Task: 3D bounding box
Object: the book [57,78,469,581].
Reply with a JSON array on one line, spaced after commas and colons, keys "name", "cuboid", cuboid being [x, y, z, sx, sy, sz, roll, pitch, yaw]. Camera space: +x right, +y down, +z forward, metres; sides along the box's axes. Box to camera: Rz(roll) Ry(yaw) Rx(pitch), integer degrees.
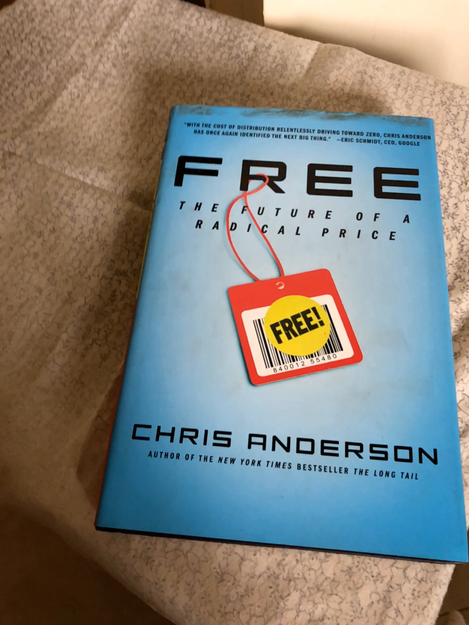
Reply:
[{"name": "book", "cuboid": [0.027, -0.016, 0.293, 0.180, 0.040, 0.280, 3, 64, 6]}]
